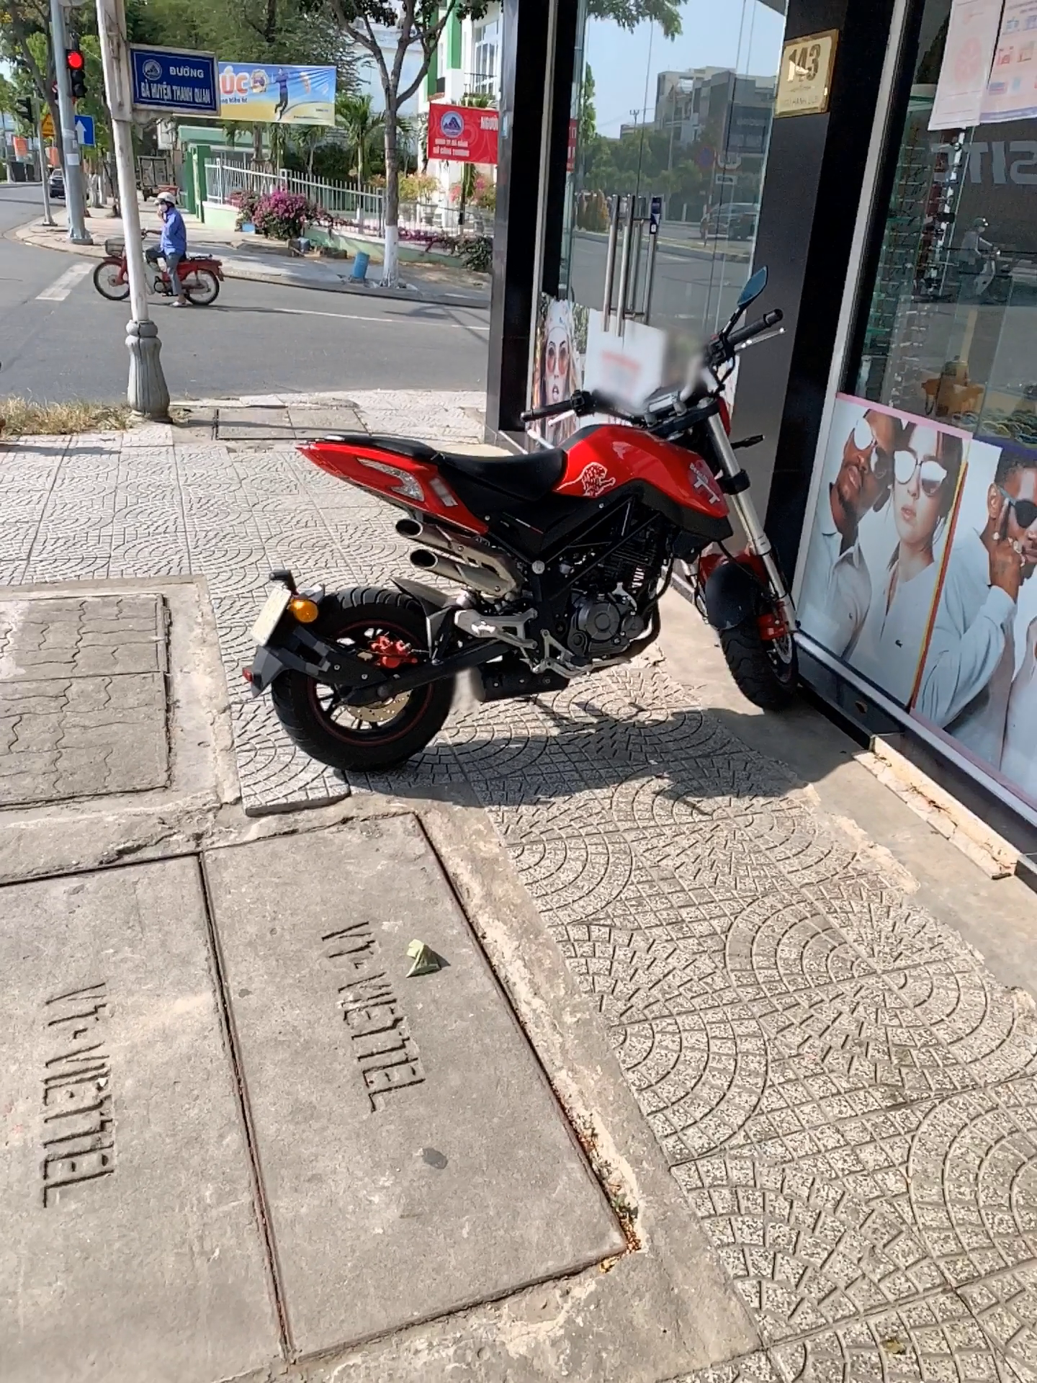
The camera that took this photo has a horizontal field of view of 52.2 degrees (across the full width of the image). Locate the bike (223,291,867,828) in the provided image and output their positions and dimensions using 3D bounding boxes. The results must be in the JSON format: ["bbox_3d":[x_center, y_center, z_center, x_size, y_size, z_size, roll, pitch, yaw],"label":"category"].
[{"bbox_3d":[0.143,-0.597,3.454,2.124,1.216,0.834,-14,29,-35],"label":"bike"}]
